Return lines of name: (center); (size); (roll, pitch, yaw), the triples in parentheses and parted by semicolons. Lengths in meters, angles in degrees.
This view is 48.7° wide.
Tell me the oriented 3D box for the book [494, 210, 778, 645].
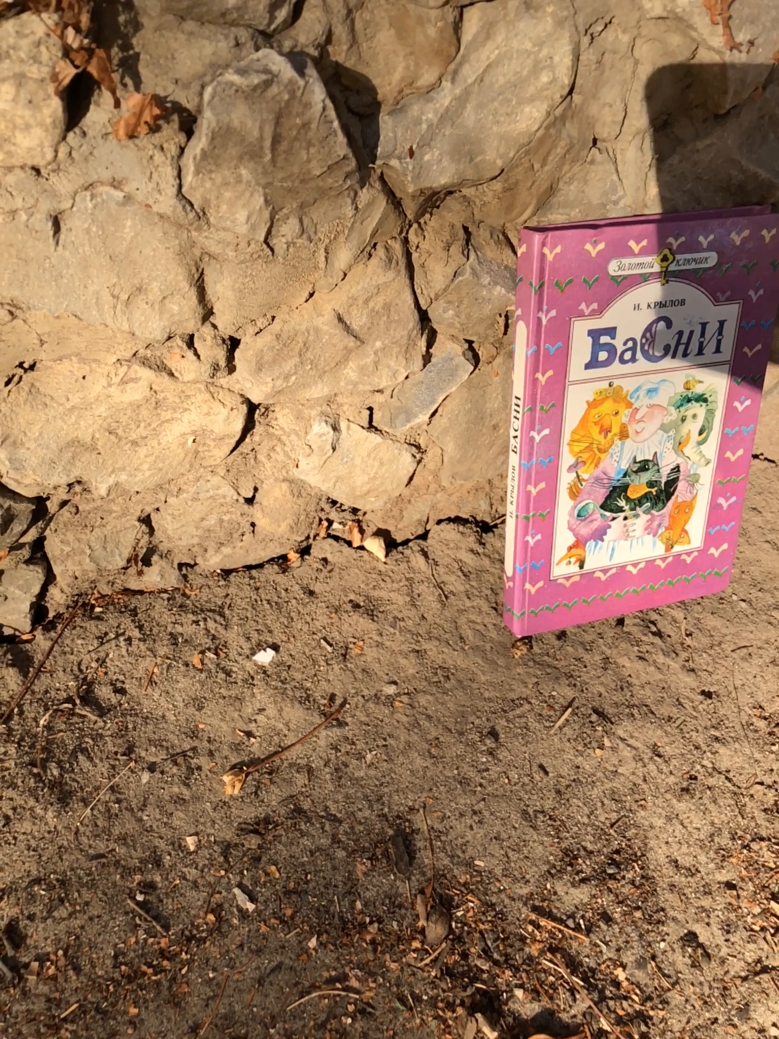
book: (0.125, -0.044, 0.429); (0.142, 0.201, 0.025); (-9, 26, -19)
